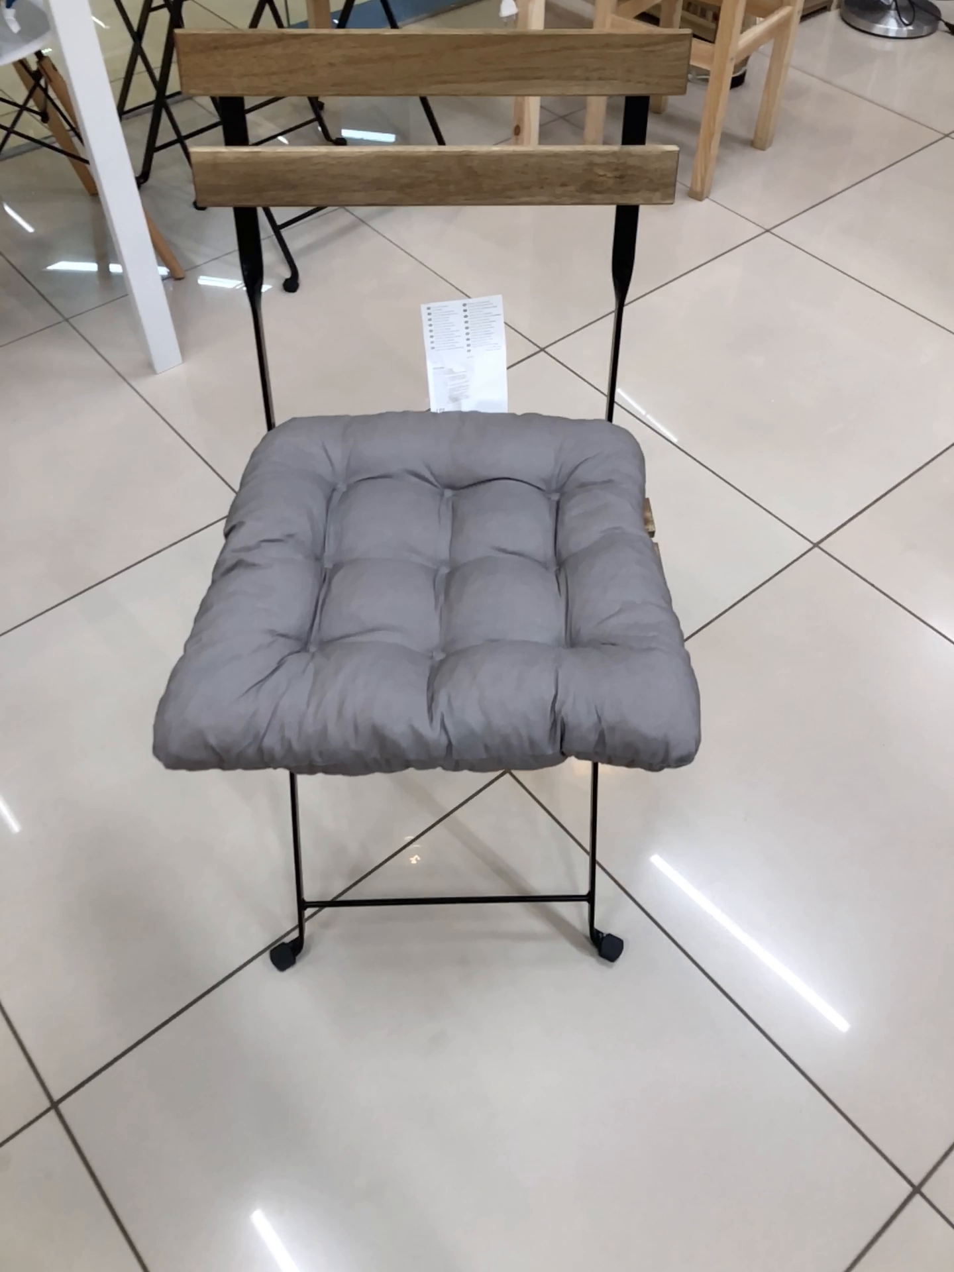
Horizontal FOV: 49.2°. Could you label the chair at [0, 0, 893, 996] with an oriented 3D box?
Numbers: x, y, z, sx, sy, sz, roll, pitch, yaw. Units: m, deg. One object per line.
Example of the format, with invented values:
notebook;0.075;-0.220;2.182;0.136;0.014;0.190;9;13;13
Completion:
chair;-0.041;-0.050;0.906;0.440;0.765;0.443;-2;52;-2
